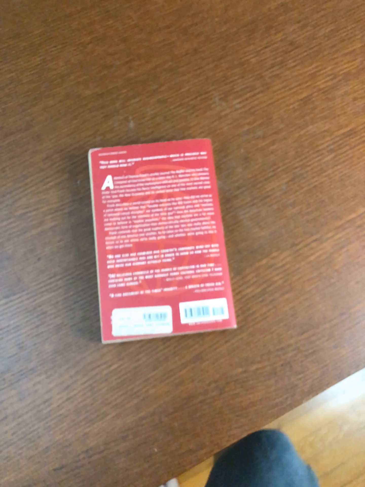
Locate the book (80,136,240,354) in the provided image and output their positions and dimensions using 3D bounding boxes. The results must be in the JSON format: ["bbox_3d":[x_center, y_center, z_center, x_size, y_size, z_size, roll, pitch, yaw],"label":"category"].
[{"bbox_3d":[-0.027,-0.002,0.425,0.140,0.030,0.210,-6,77,-2],"label":"book"}]
